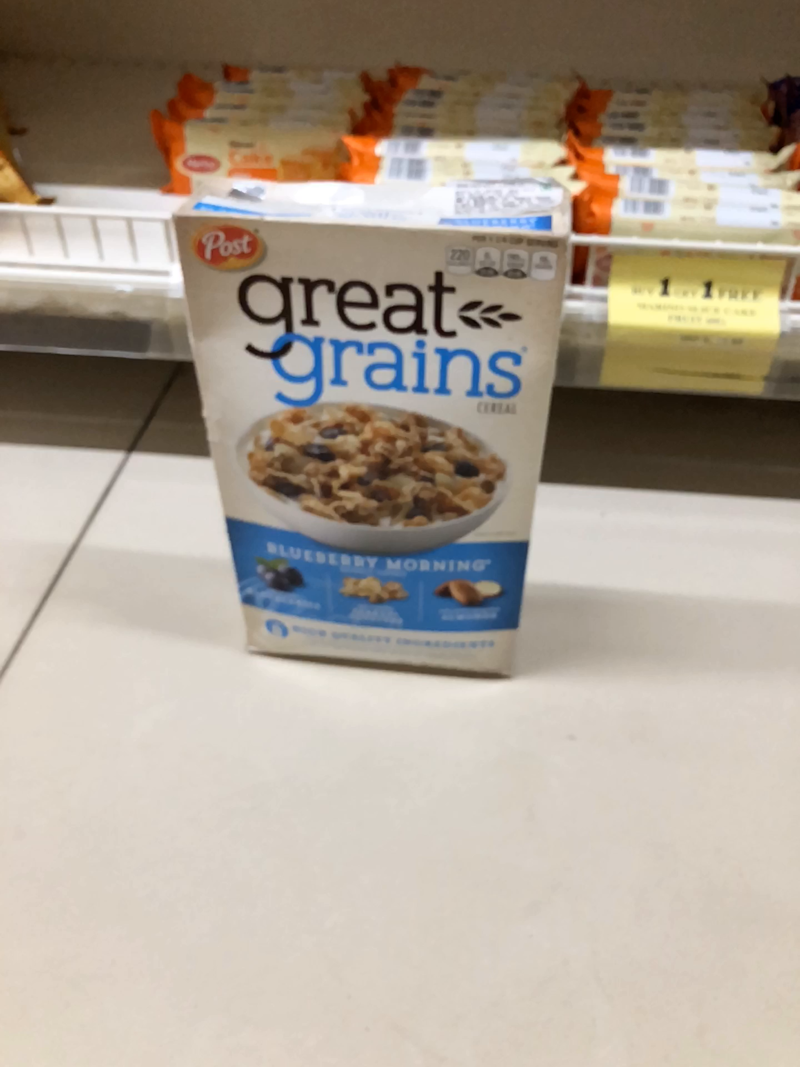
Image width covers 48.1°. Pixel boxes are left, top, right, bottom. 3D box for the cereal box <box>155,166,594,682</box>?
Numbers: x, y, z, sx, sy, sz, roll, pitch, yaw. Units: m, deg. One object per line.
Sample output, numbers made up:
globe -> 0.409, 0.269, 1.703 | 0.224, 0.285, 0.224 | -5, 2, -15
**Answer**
cereal box -> -0.008, -0.039, 0.452 | 0.170, 0.258, 0.060 | 4, 41, 5
